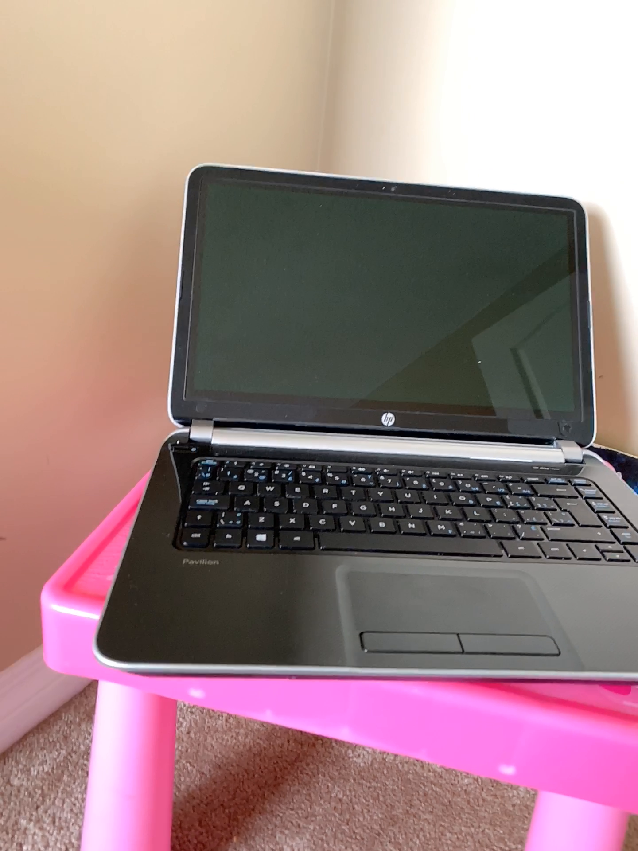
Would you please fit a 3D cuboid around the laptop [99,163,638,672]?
[{"bbox_3d":[0.056,-0.033,0.358,0.274,0.161,0.273,3,26,-6],"label":"laptop"}]
